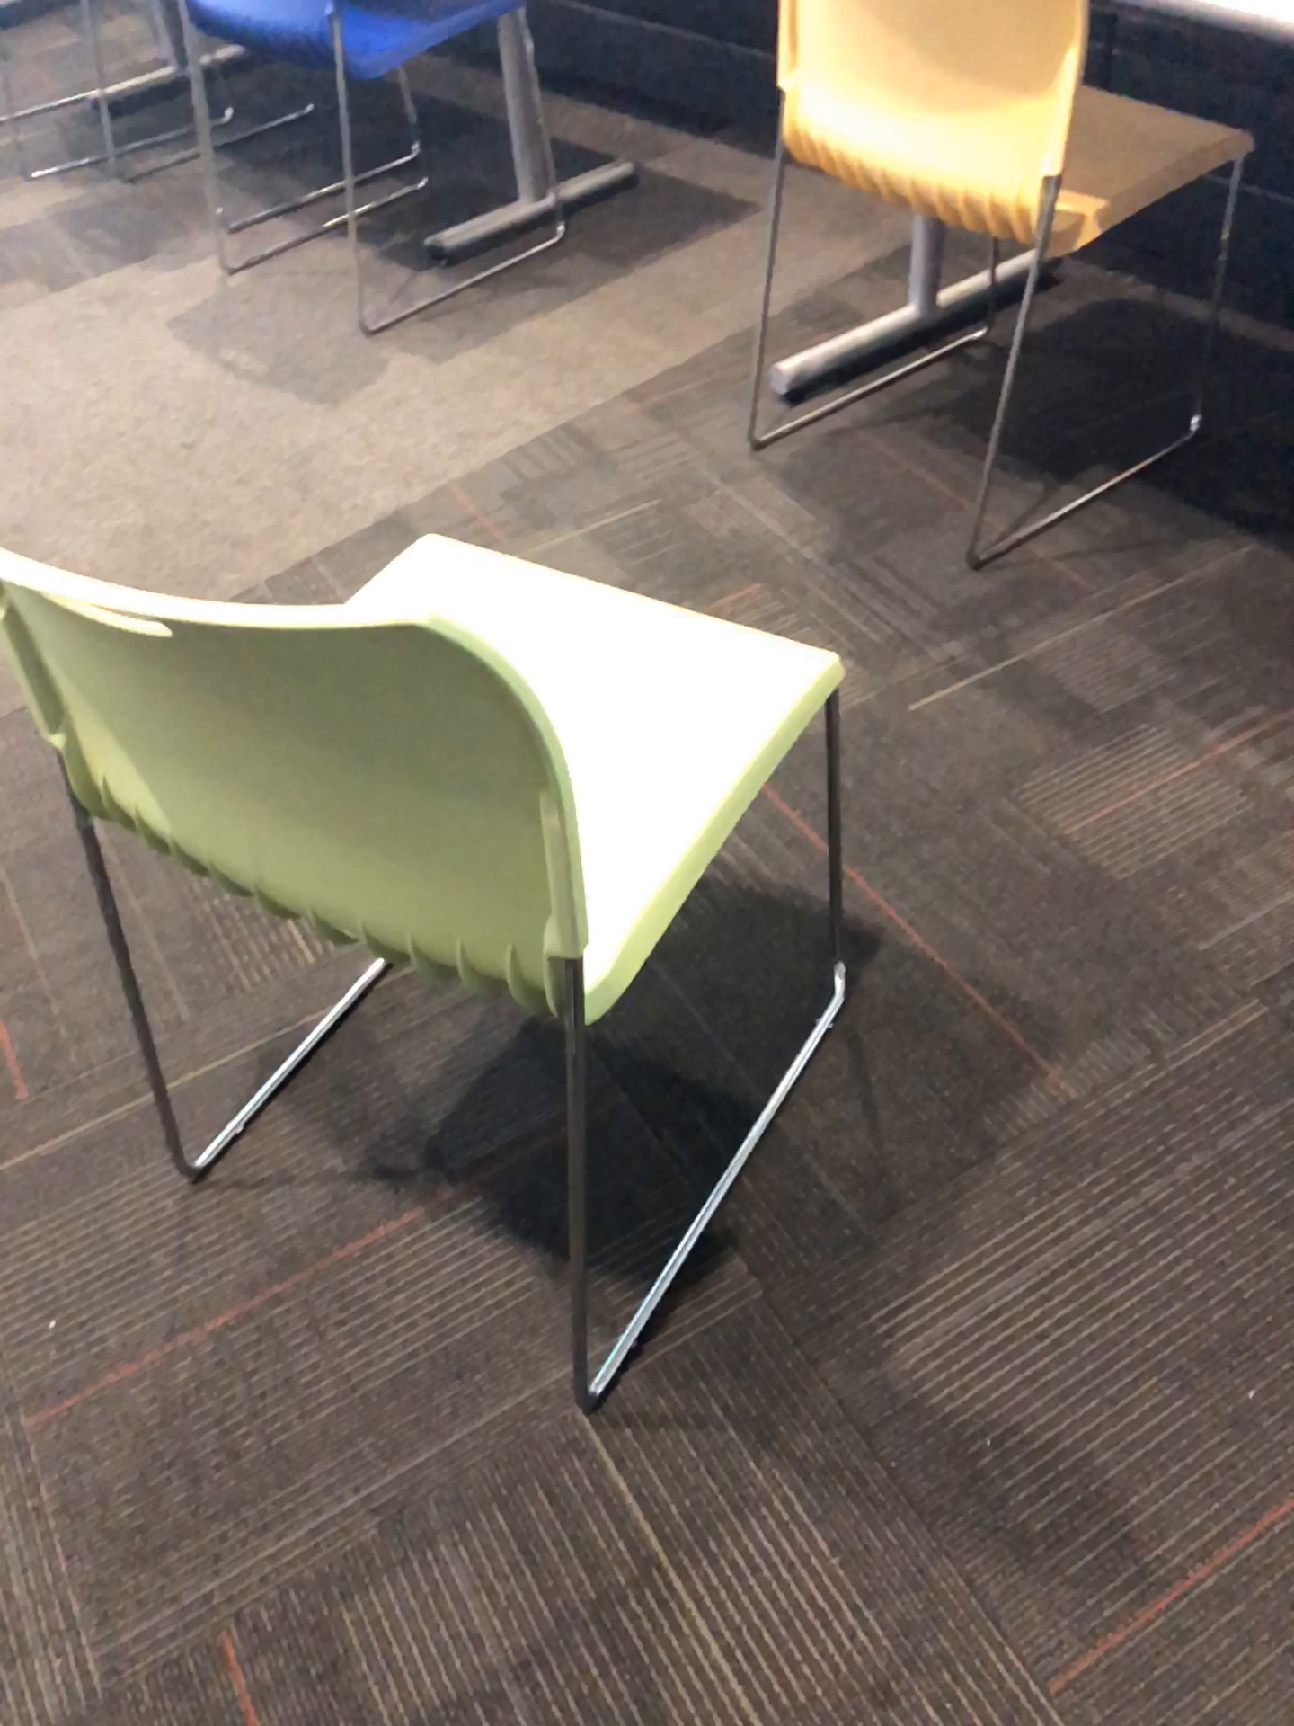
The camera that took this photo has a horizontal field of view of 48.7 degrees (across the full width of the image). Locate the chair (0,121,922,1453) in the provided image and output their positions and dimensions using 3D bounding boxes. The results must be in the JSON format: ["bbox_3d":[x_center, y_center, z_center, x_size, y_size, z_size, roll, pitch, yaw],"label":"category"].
[{"bbox_3d":[-0.168,-0.060,1.131,0.541,0.756,0.541,21,51,25],"label":"chair"}]
